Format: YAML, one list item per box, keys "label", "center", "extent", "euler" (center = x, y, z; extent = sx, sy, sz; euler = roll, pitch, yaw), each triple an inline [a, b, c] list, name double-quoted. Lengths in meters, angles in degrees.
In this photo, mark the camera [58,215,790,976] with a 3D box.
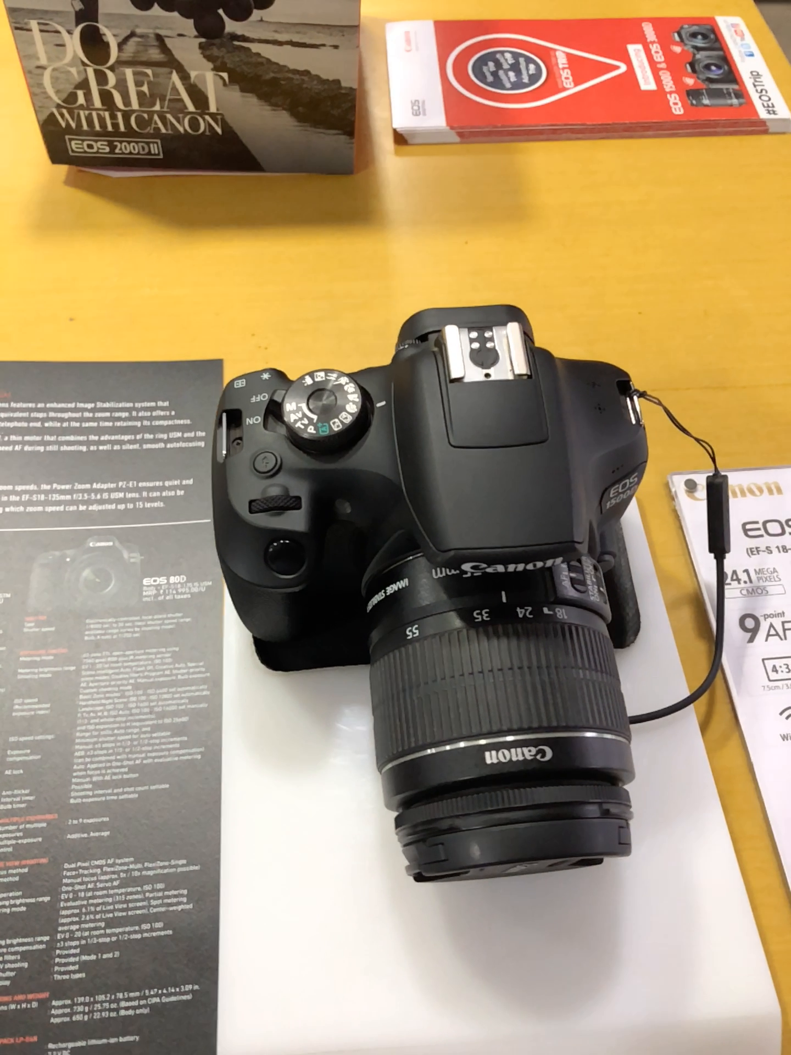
- label: "camera"
  center: [0.015, 0.014, 0.205]
  extent: [0.140, 0.090, 0.141]
  euler: [-4, 57, -3]
